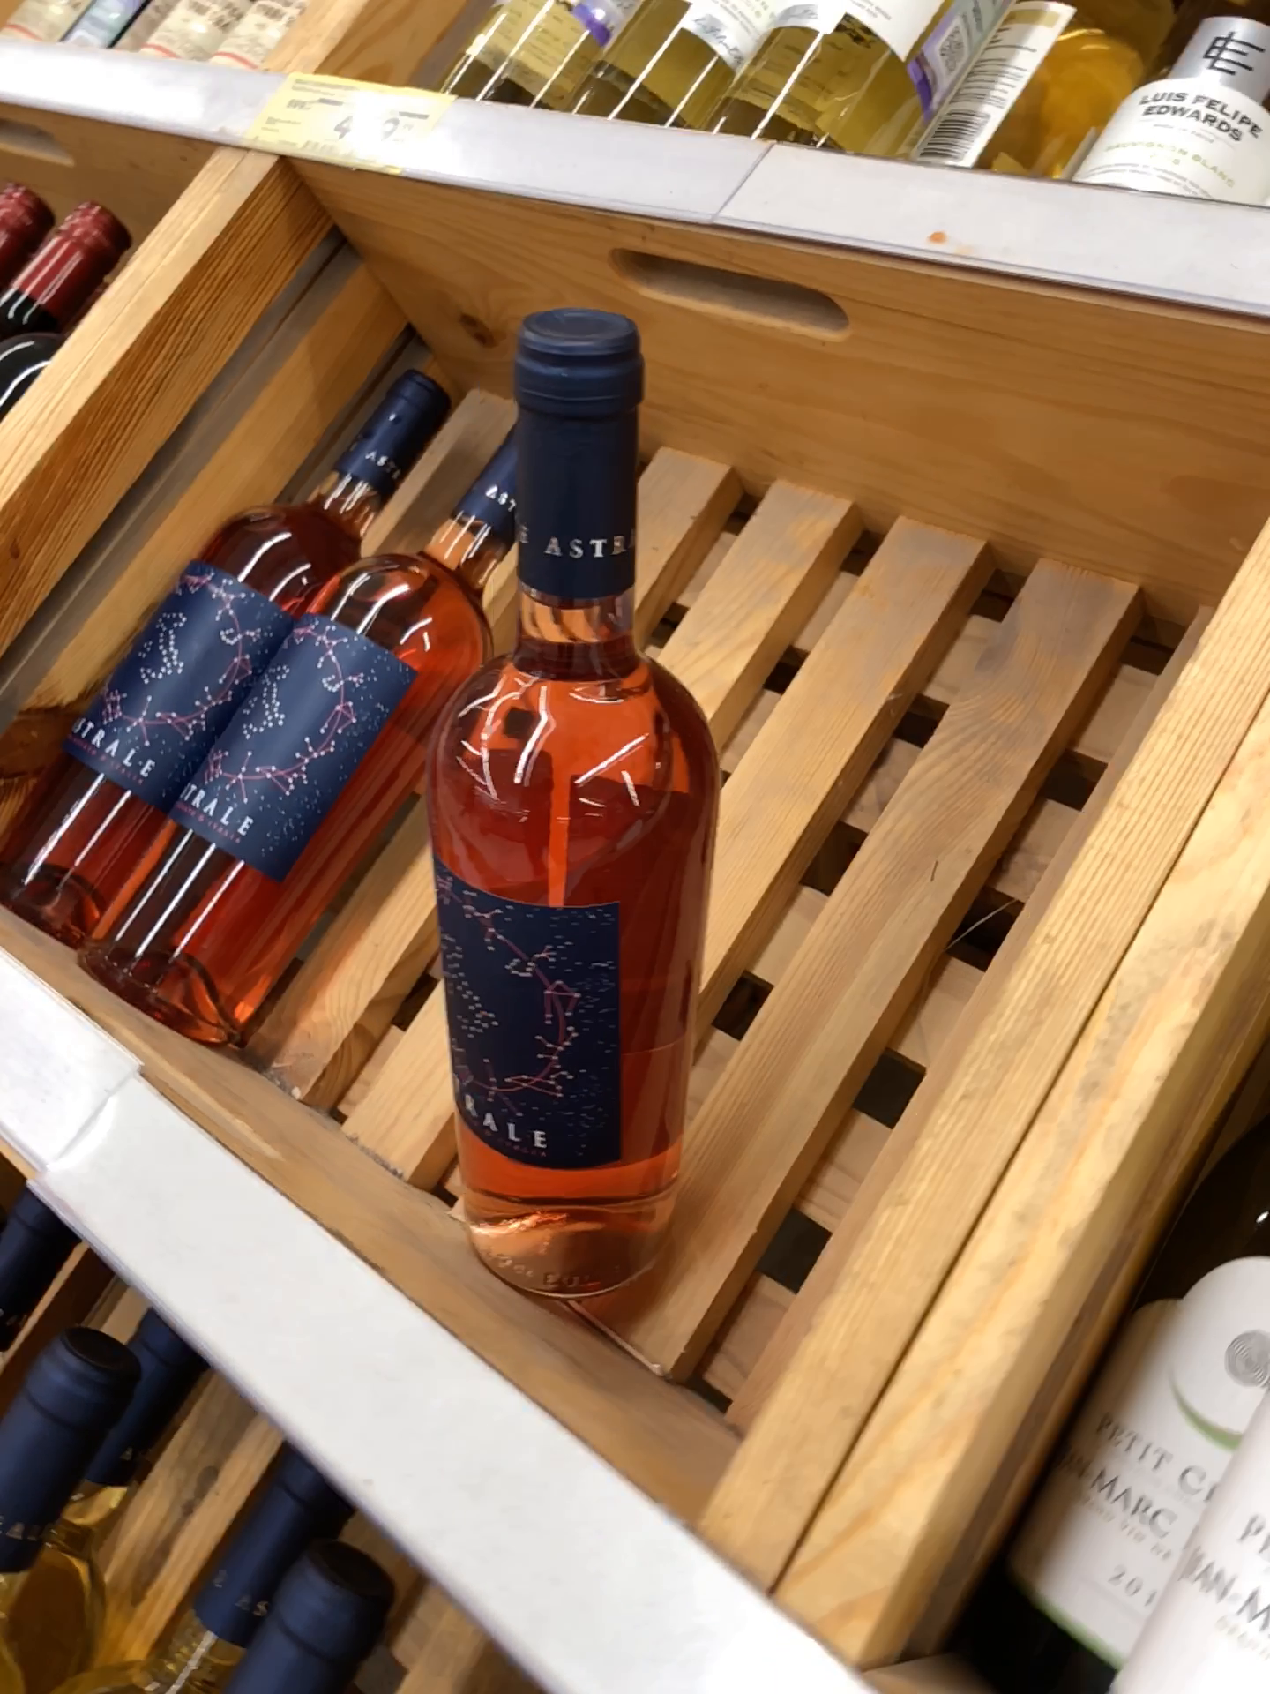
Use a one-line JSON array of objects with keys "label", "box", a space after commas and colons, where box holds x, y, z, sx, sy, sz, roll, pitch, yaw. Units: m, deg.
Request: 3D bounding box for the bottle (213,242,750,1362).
[{"label": "bottle", "box": [-0.032, 0.003, 0.379, 0.080, 0.288, 0.080, 0, 36, 0]}]
